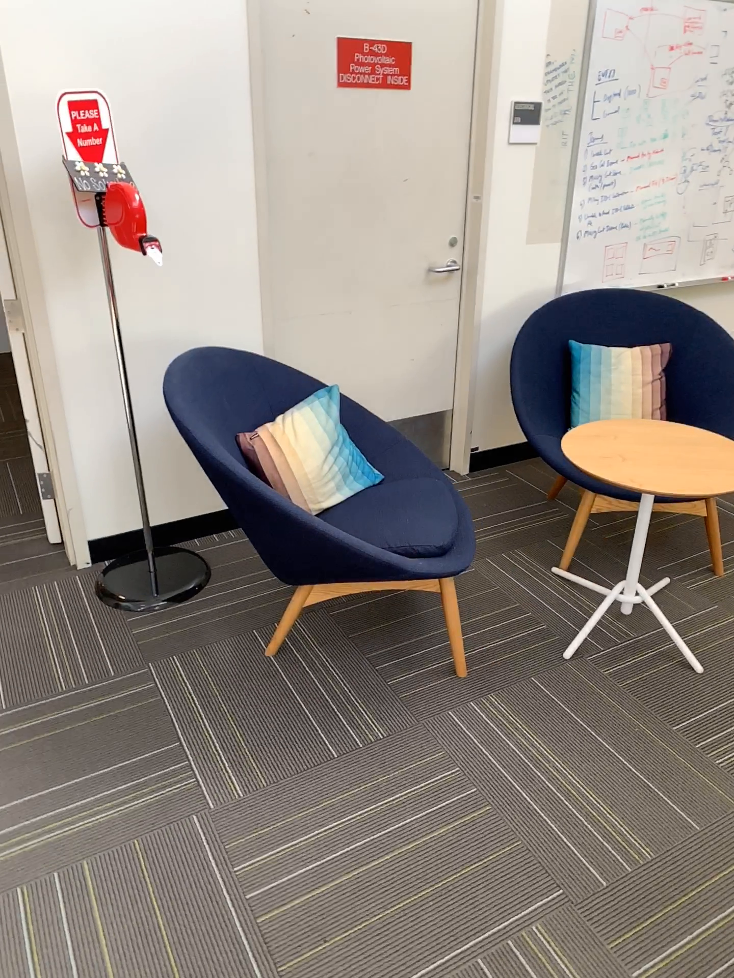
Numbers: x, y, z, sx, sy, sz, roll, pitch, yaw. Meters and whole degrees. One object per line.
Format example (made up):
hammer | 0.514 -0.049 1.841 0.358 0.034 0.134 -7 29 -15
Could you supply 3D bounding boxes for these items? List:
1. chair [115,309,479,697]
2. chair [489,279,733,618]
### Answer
chair | -0.127 -0.018 2.252 0.840 0.835 0.794 4 26 8
chair | 0.965 -0.227 2.917 0.830 0.945 0.985 6 26 11
